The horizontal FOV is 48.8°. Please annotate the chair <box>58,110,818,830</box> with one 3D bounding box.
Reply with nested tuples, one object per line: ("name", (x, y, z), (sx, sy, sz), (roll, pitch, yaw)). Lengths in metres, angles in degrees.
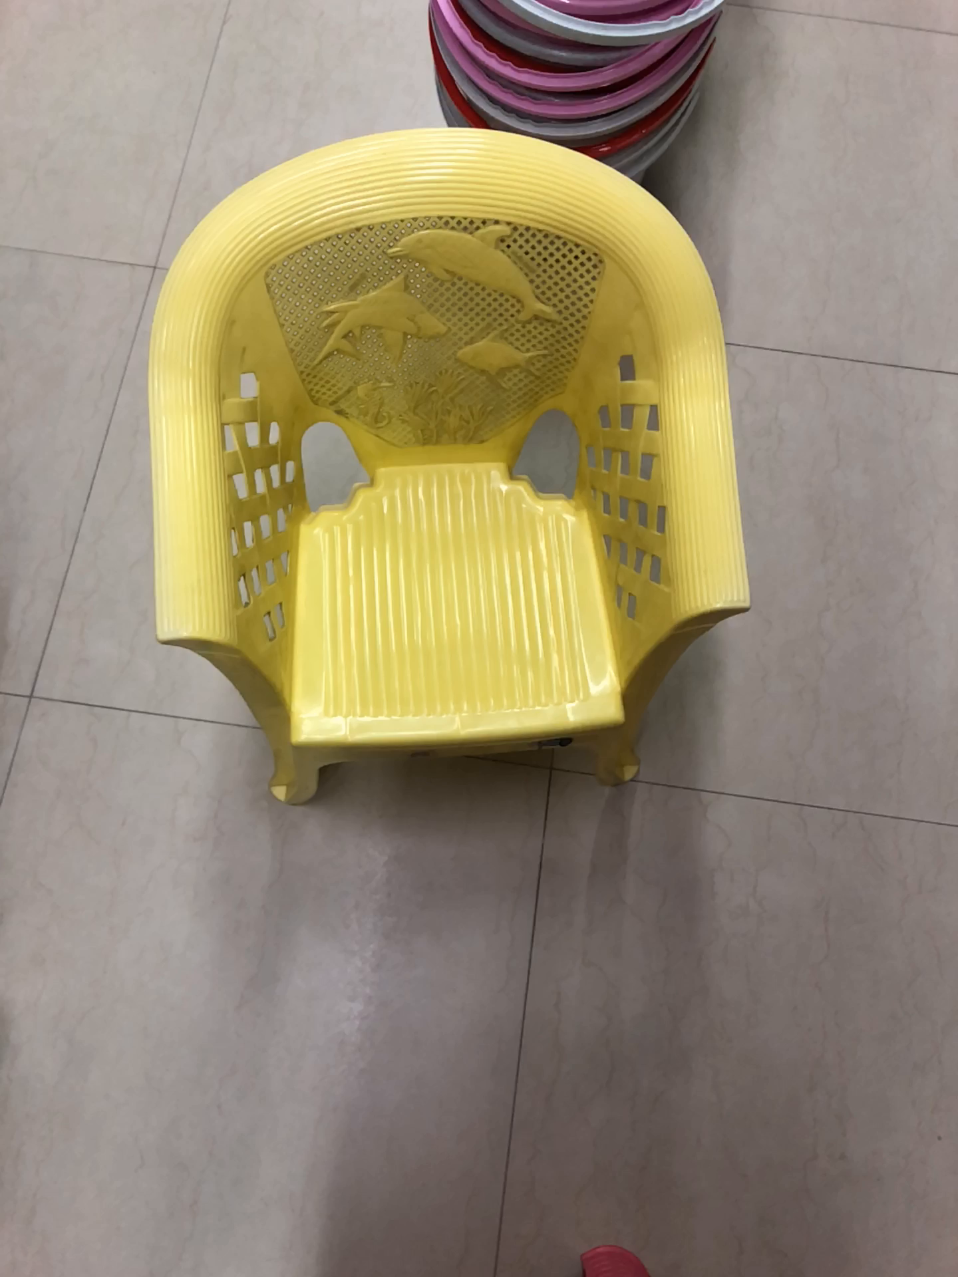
("chair", (-0.040, -0.112, 0.918), (0.470, 0.399, 0.471), (-2, 71, -2))
